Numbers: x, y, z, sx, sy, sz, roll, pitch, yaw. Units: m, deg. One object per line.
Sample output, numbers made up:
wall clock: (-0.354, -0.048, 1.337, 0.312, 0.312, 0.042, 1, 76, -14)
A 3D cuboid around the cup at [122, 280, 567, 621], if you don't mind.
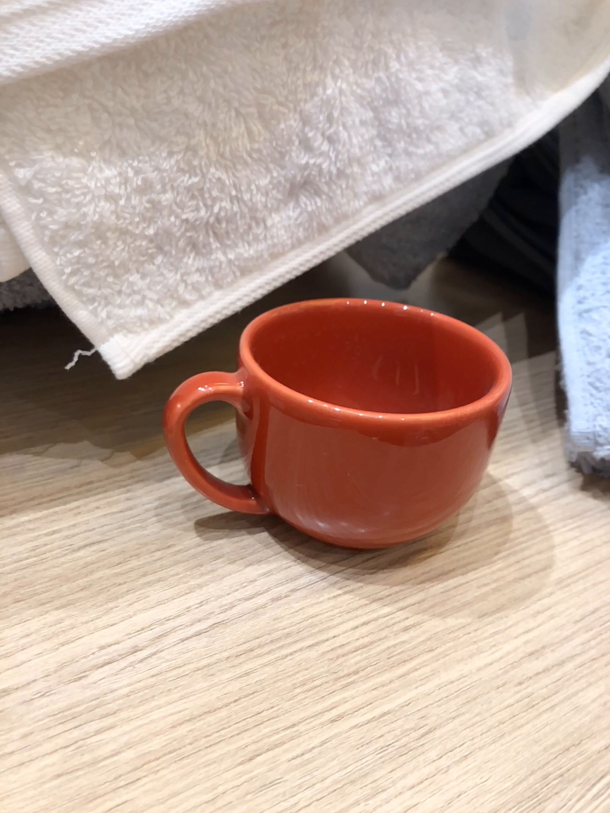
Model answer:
cup: (0.006, 0.004, 0.205, 0.100, 0.050, 0.080, -9, 33, -24)
